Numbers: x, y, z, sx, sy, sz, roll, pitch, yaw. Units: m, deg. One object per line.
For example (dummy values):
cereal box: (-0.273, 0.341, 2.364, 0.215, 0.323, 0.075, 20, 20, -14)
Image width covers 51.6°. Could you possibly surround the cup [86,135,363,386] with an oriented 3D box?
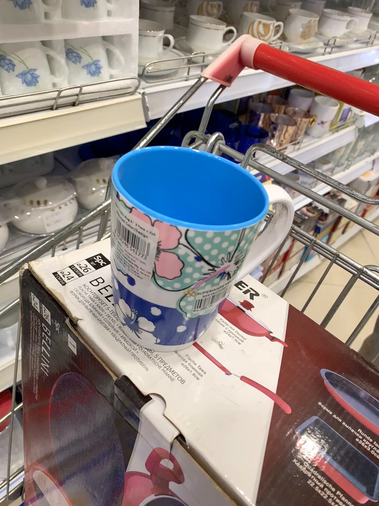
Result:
cup: (0.012, -0.003, 0.234, 0.120, 0.100, 0.080, -13, 46, -30)
